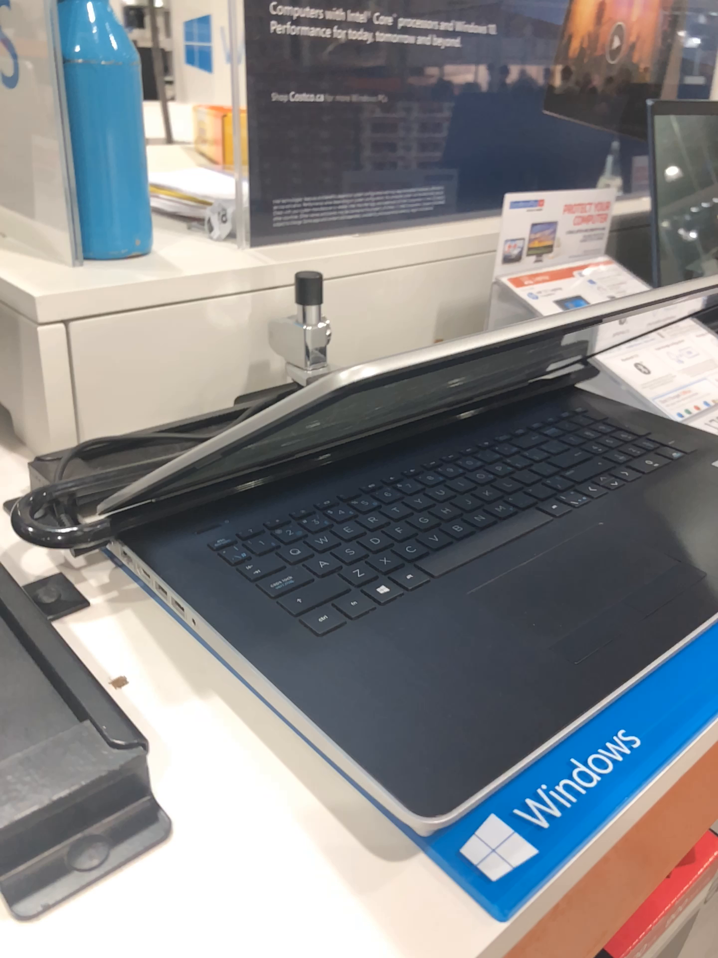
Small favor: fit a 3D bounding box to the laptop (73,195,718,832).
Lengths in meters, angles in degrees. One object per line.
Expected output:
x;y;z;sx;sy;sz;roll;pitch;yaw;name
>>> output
0.101;-0.050;0.438;0.406;0.150;0.258;-20;34;-36;laptop
